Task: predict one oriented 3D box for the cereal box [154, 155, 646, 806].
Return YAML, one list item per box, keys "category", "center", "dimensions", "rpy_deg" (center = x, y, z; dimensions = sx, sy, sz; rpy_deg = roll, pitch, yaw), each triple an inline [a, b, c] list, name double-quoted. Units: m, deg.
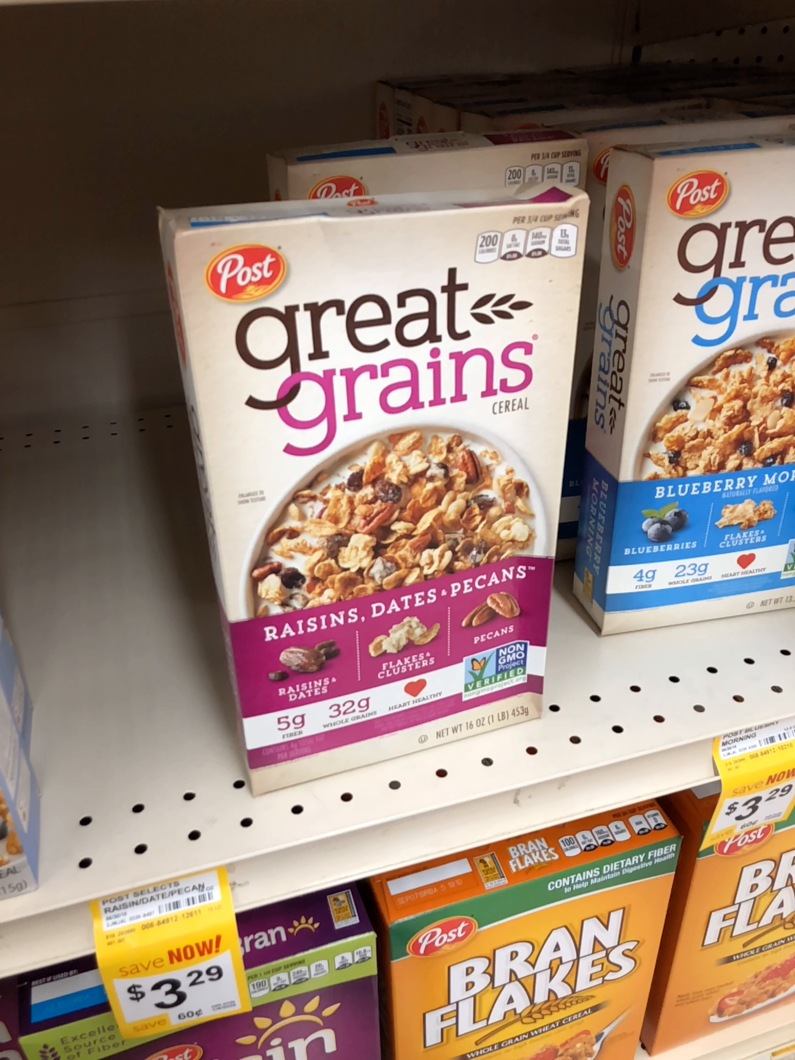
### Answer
- category: "cereal box"
  center: [0.003, -0.011, 0.387]
  dimensions: [0.170, 0.269, 0.050]
  rpy_deg: [-11, 34, -17]
